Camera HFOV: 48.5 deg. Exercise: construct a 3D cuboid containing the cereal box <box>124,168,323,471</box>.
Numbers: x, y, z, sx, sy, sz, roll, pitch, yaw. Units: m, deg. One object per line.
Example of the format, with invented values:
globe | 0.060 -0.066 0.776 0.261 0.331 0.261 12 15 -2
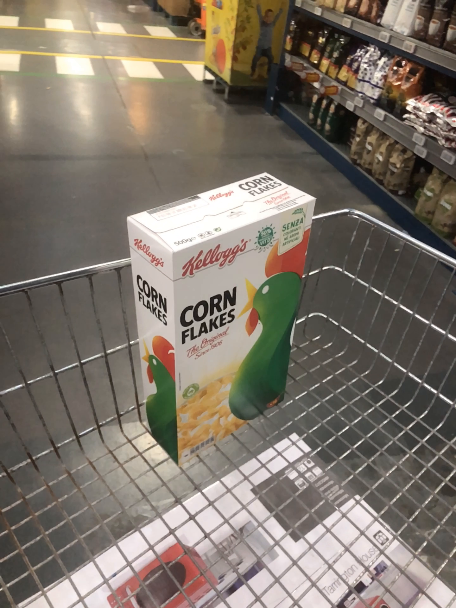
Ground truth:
cereal box | -0.010 0.026 0.619 0.191 0.328 0.090 -26 47 -32
